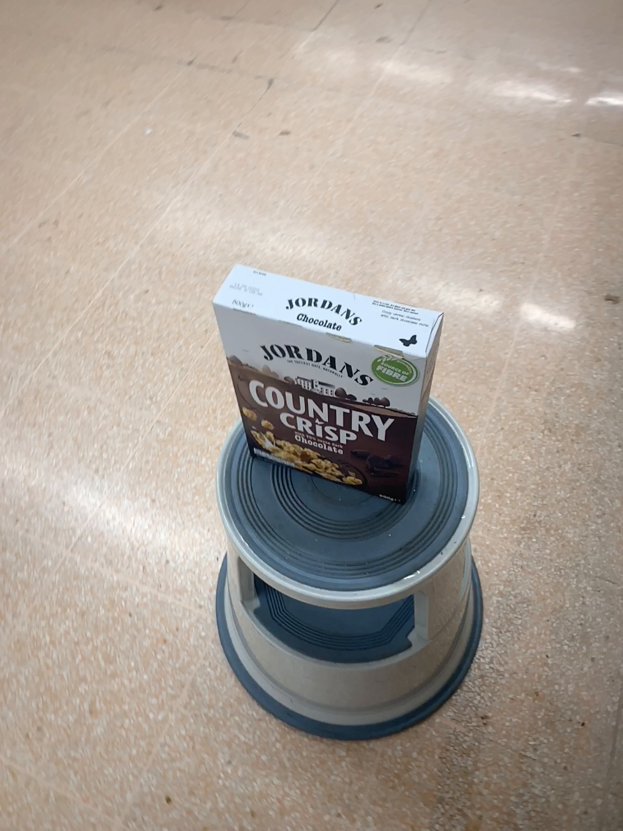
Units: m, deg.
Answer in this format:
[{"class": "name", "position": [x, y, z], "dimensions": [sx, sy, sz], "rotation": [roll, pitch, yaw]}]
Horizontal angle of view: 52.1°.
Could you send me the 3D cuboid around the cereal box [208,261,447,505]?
[{"class": "cereal box", "position": [0.017, -0.017, 0.601], "dimensions": [0.180, 0.248, 0.050], "rotation": [16, 60, 14]}]
